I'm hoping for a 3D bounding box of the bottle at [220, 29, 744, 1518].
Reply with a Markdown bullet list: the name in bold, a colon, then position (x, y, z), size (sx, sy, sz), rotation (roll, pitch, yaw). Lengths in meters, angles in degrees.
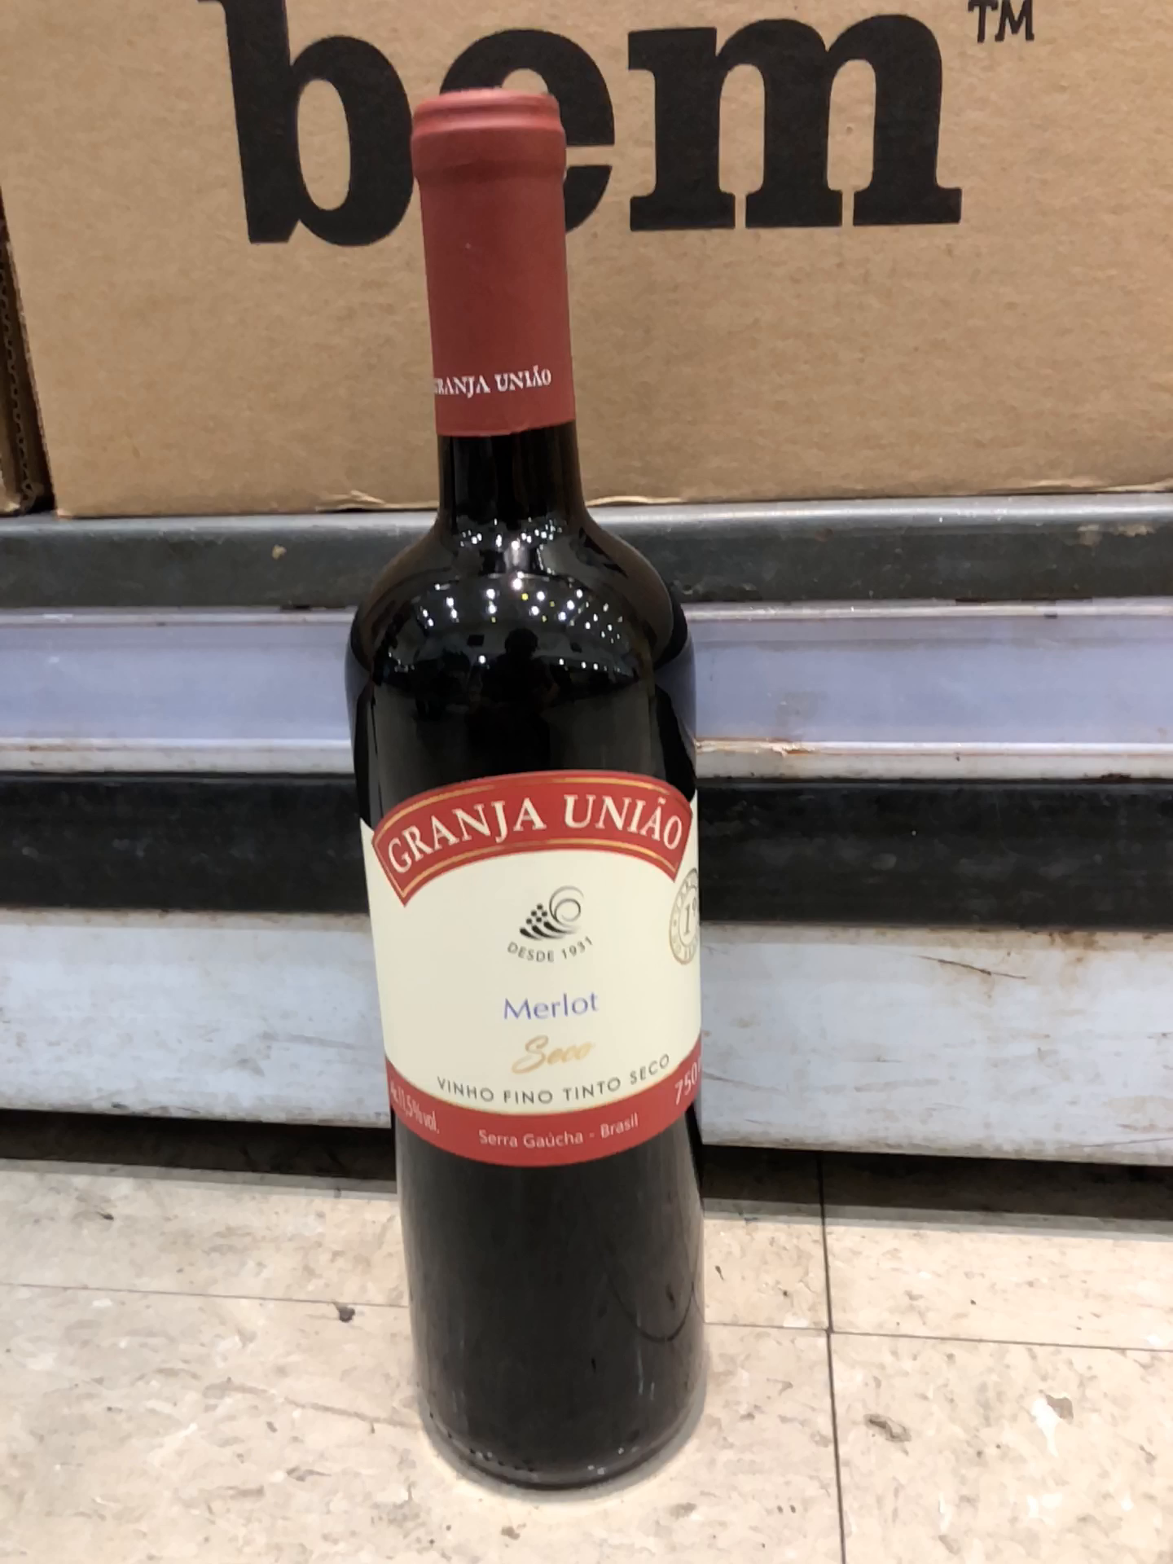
- **bottle**: position (-0.013, 0.012, 0.288), size (0.080, 0.298, 0.080), rotation (-2, 20, 1)
